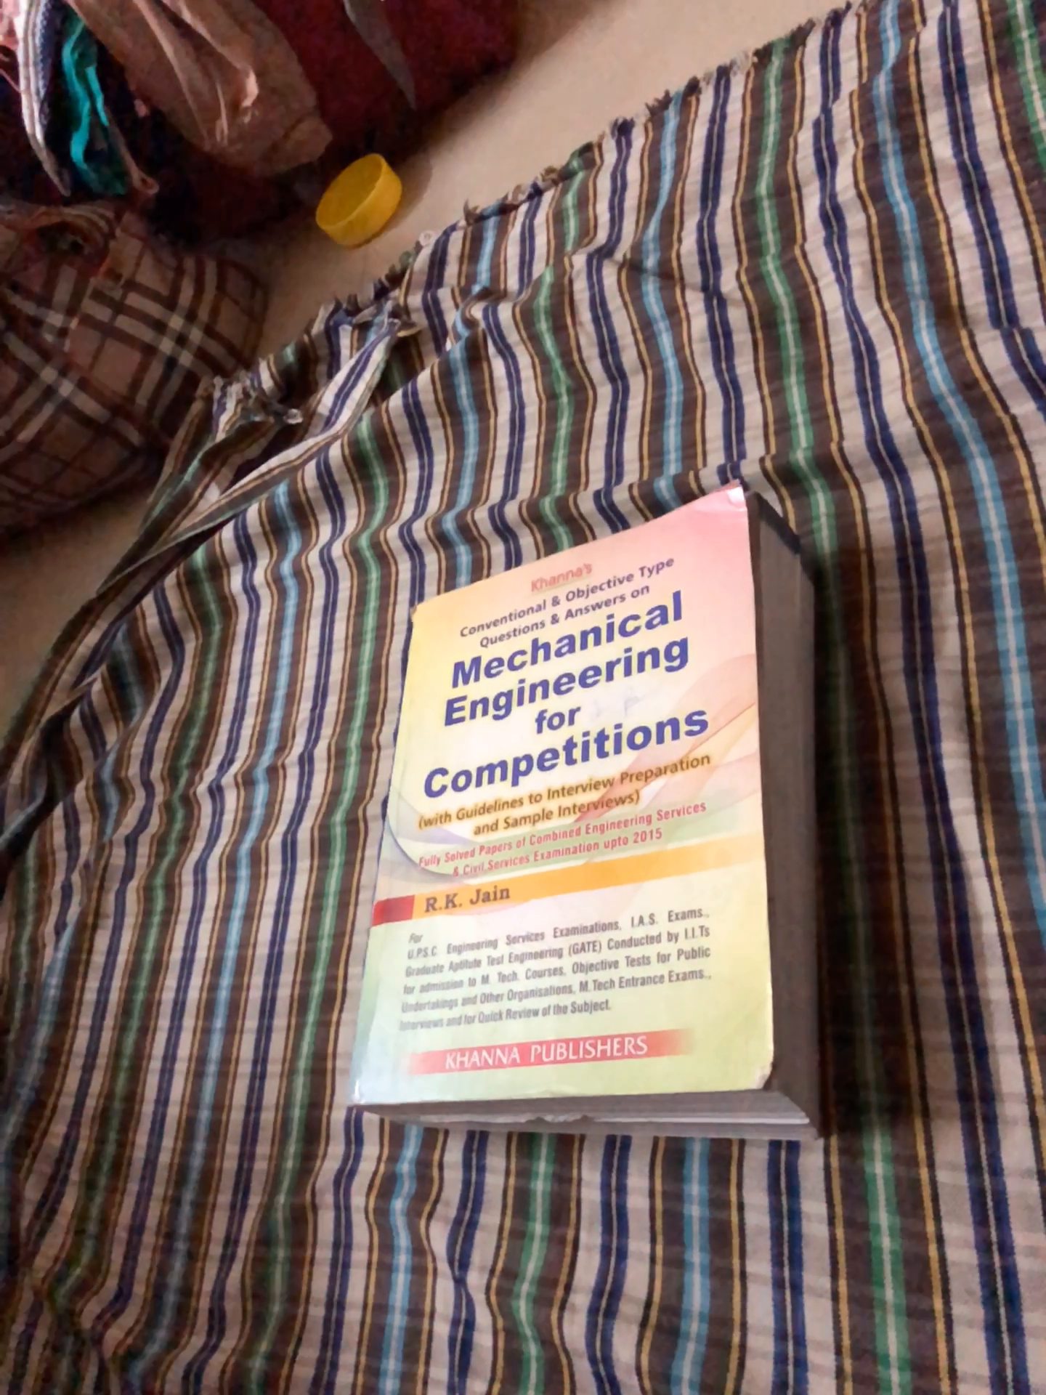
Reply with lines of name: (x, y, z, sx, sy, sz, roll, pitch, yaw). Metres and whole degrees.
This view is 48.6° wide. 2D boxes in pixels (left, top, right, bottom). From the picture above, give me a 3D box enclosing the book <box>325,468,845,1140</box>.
book: (0.033, 0.055, 0.553, 0.211, 0.077, 0.280, -13, 56, 33)
